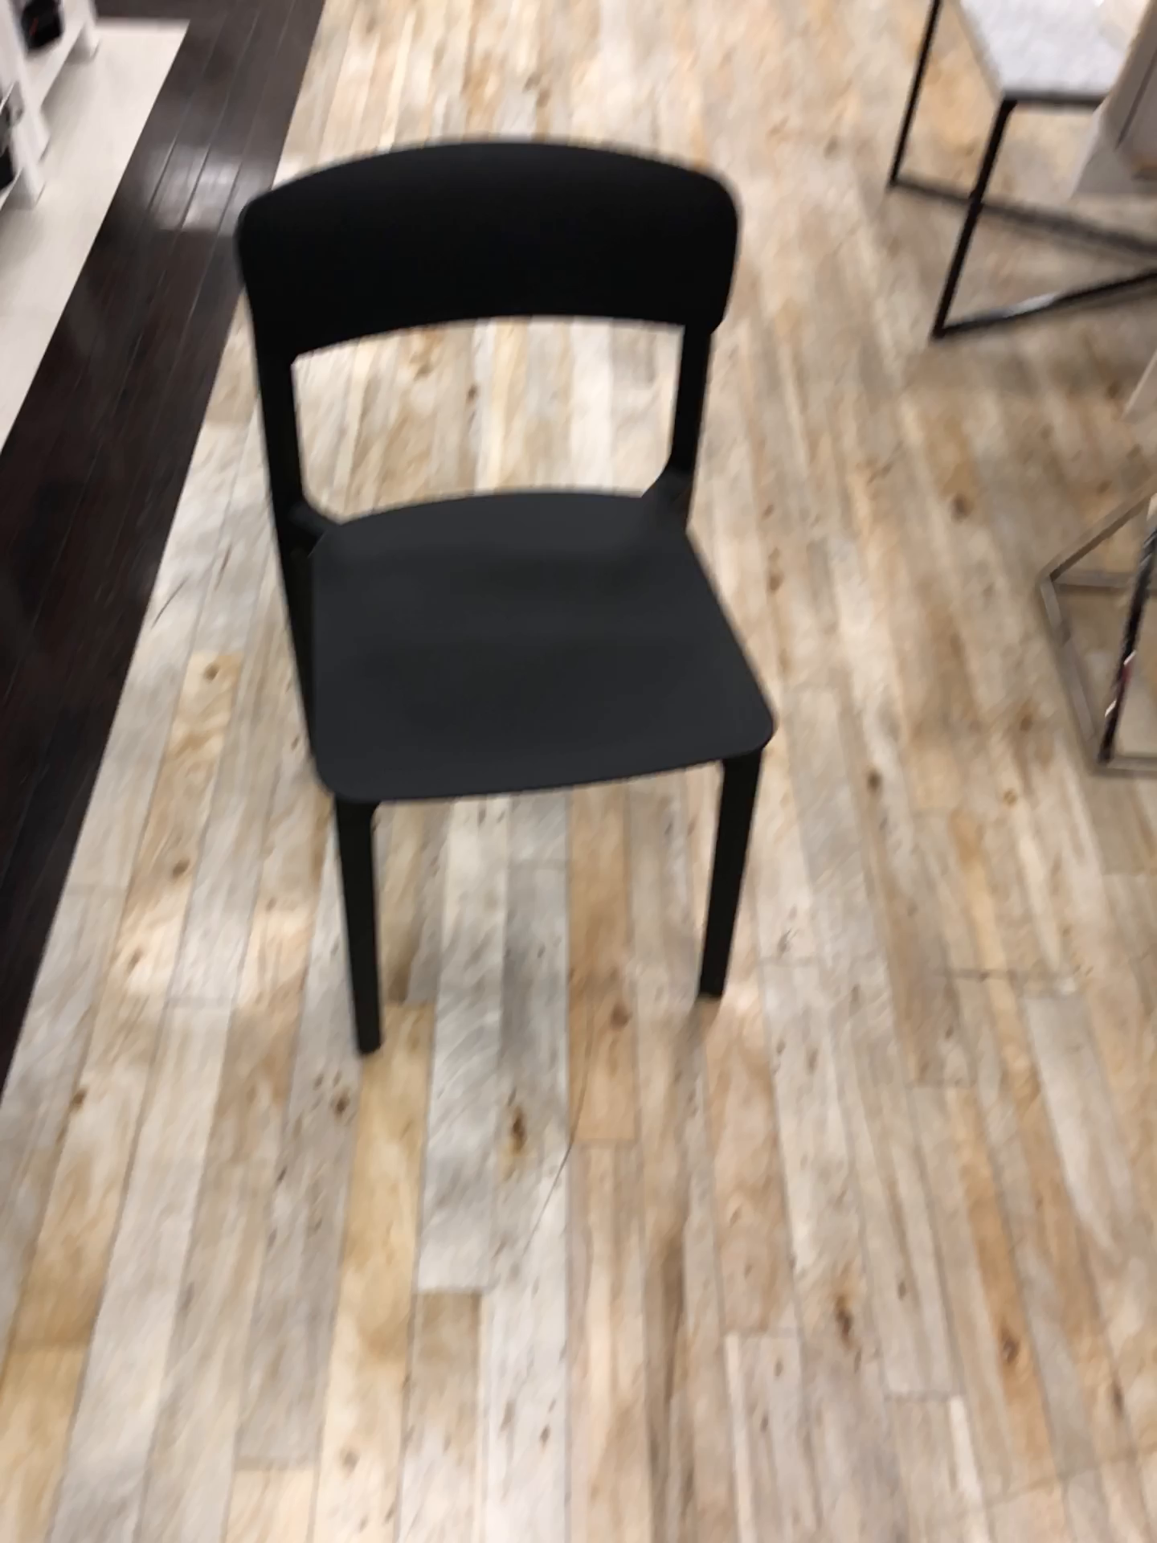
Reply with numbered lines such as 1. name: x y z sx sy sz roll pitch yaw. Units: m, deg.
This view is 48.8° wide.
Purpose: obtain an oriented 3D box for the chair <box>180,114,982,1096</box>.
1. chair: -0.052 -0.133 1.226 0.500 0.707 0.542 -8 52 -9
